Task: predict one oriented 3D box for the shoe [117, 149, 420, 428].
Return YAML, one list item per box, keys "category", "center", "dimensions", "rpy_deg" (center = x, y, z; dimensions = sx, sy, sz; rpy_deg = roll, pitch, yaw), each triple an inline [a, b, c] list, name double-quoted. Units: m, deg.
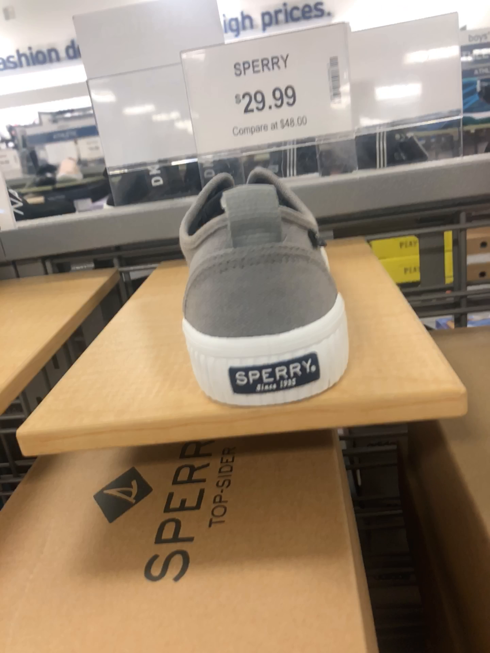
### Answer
- category: "shoe"
  center: [0.005, -0.049, 0.305]
  dimensions: [0.097, 0.081, 0.252]
  rpy_deg: [-7, 20, -1]
